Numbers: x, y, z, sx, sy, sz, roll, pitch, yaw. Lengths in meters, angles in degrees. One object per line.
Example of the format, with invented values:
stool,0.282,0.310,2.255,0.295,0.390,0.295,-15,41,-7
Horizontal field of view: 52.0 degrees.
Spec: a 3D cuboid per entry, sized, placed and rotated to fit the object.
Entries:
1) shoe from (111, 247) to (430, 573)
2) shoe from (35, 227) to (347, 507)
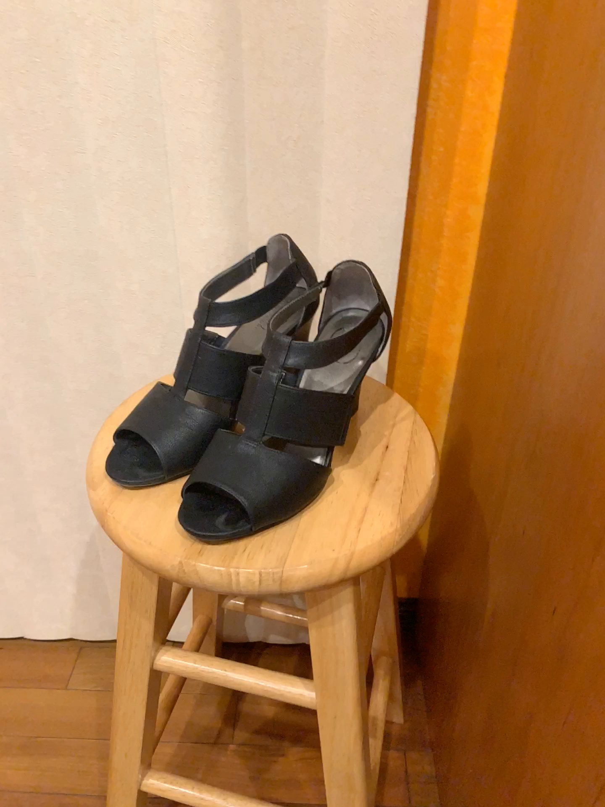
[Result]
shoe,-0.009,-0.013,0.471,0.100,0.130,0.234,22,39,29
shoe,-0.073,-0.046,0.517,0.090,0.125,0.244,24,40,31
